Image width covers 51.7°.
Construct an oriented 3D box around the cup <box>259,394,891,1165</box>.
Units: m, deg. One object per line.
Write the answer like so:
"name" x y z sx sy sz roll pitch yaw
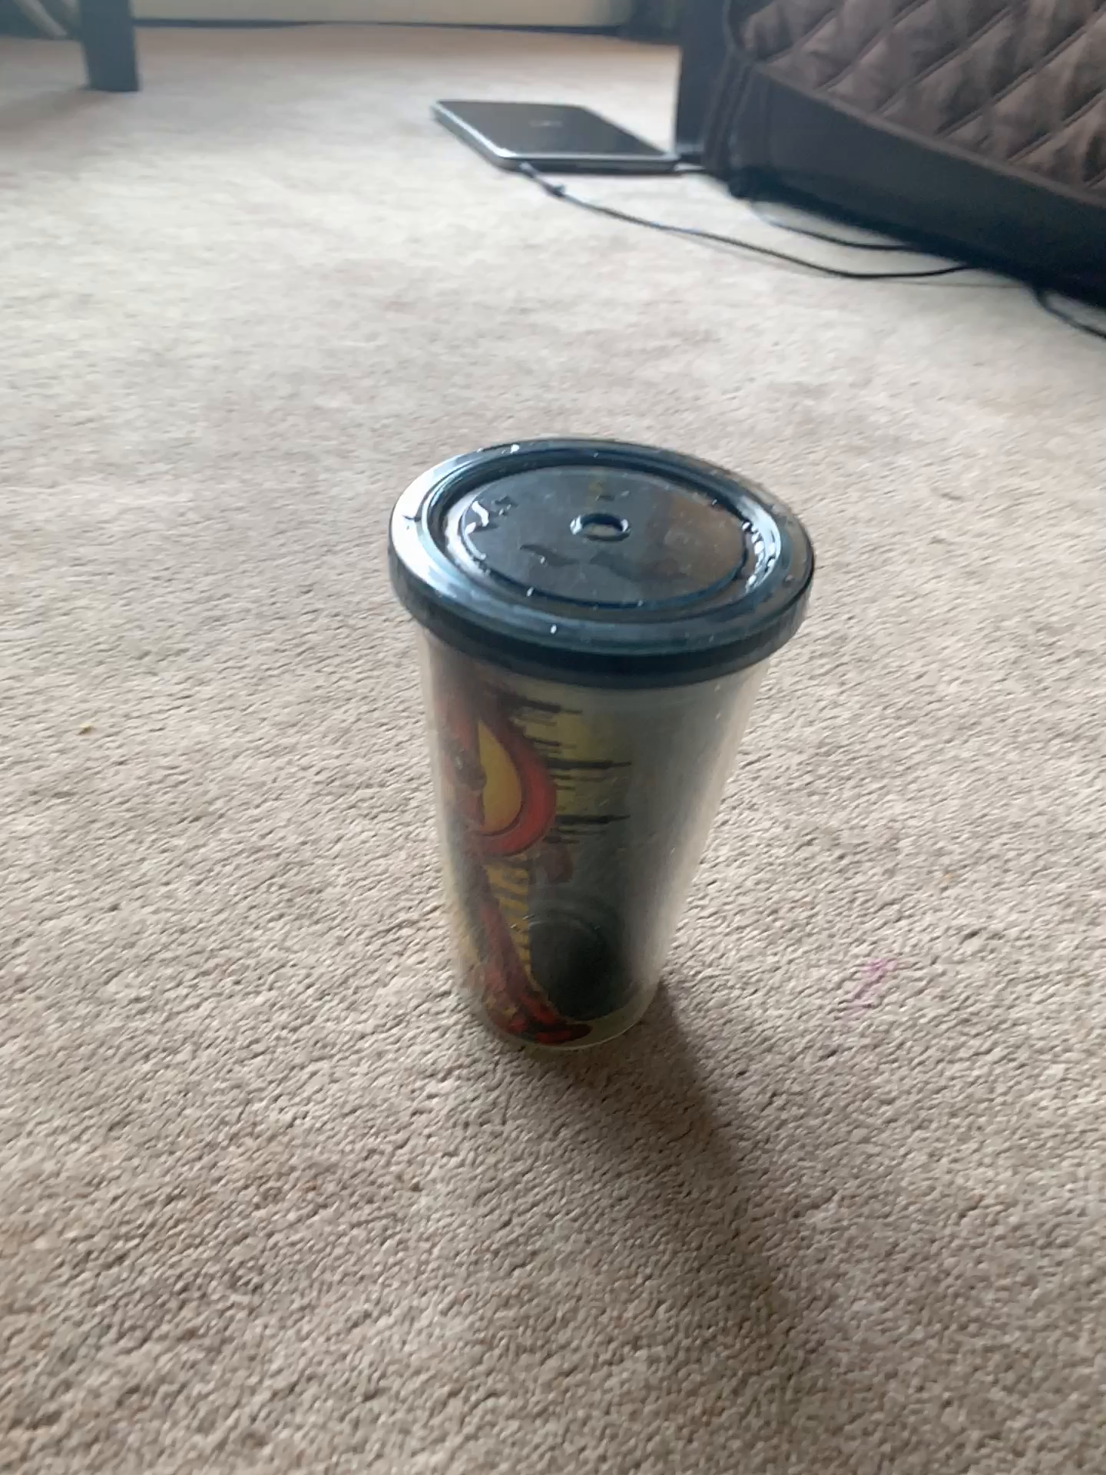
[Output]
"cup" 0.001 0.005 0.293 0.100 0.139 0.101 4 36 -3
